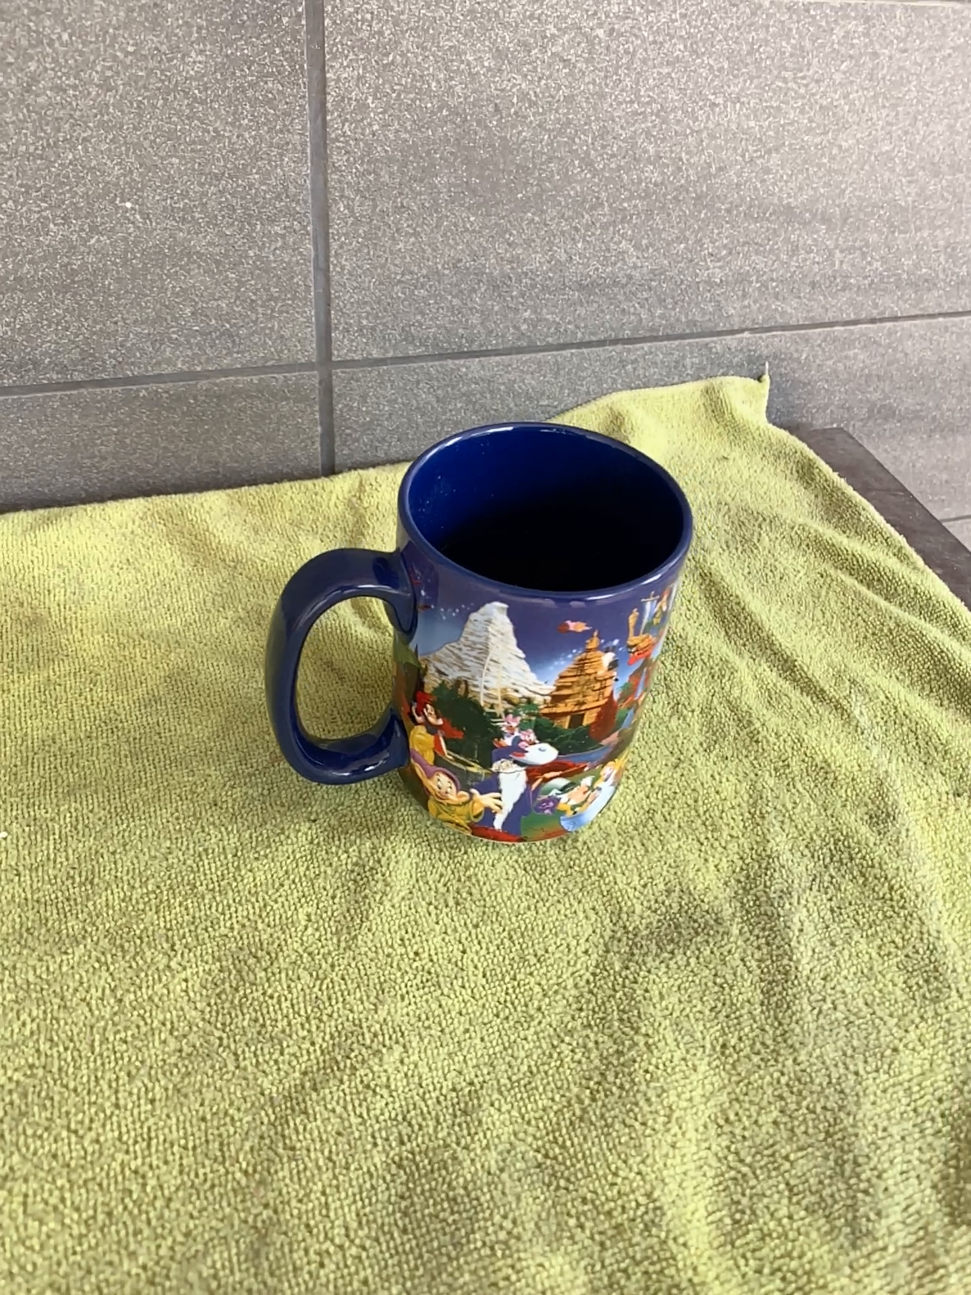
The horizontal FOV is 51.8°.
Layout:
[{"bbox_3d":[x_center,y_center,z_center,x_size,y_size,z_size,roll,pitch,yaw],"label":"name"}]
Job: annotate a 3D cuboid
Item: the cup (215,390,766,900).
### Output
[{"bbox_3d":[-0.007,-0.003,0.307,0.130,0.110,0.090,-7,45,-14],"label":"cup"}]
